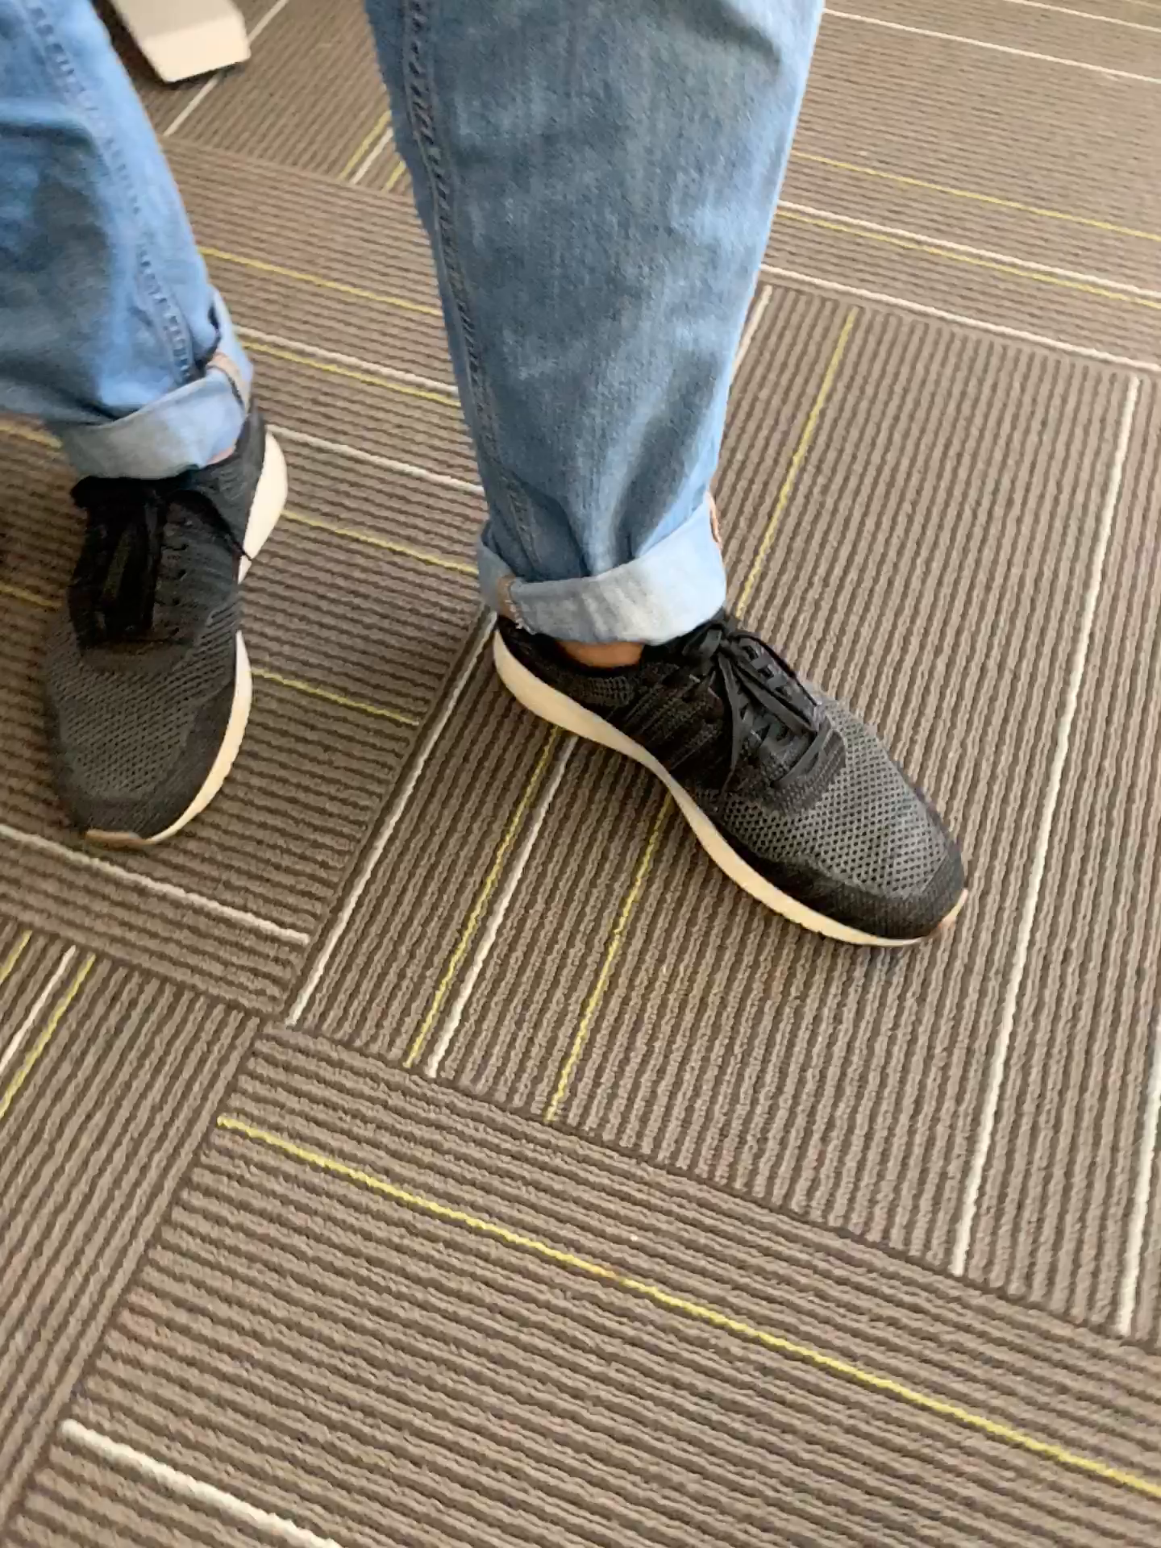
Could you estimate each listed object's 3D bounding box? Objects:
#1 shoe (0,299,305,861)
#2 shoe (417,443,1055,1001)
[{"bbox_3d":[-0.241,-0.115,0.671,0.110,0.106,0.307,2,62,0],"label":"shoe"},{"bbox_3d":[0.070,-0.032,0.635,0.307,0.106,0.112,36,68,17],"label":"shoe"}]
